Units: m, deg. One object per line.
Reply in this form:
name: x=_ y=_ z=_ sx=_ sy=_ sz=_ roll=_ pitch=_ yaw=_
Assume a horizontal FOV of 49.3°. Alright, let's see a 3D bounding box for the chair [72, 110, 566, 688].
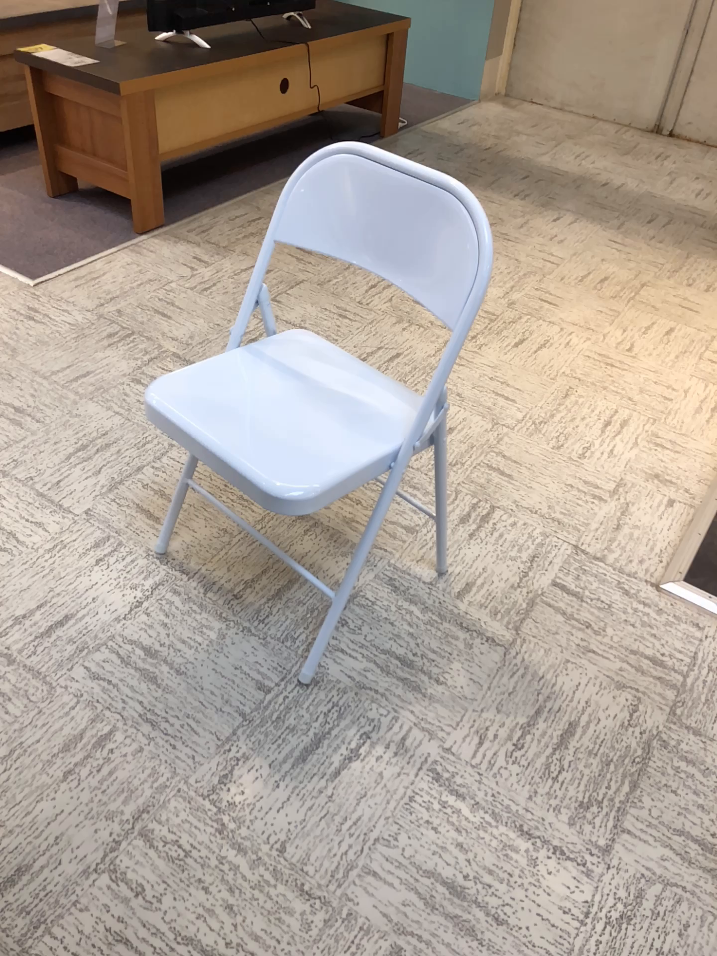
chair: x=-0.078 y=-0.150 z=1.332 sx=0.510 sy=0.705 sz=0.483 roll=34 pitch=48 yaw=29
